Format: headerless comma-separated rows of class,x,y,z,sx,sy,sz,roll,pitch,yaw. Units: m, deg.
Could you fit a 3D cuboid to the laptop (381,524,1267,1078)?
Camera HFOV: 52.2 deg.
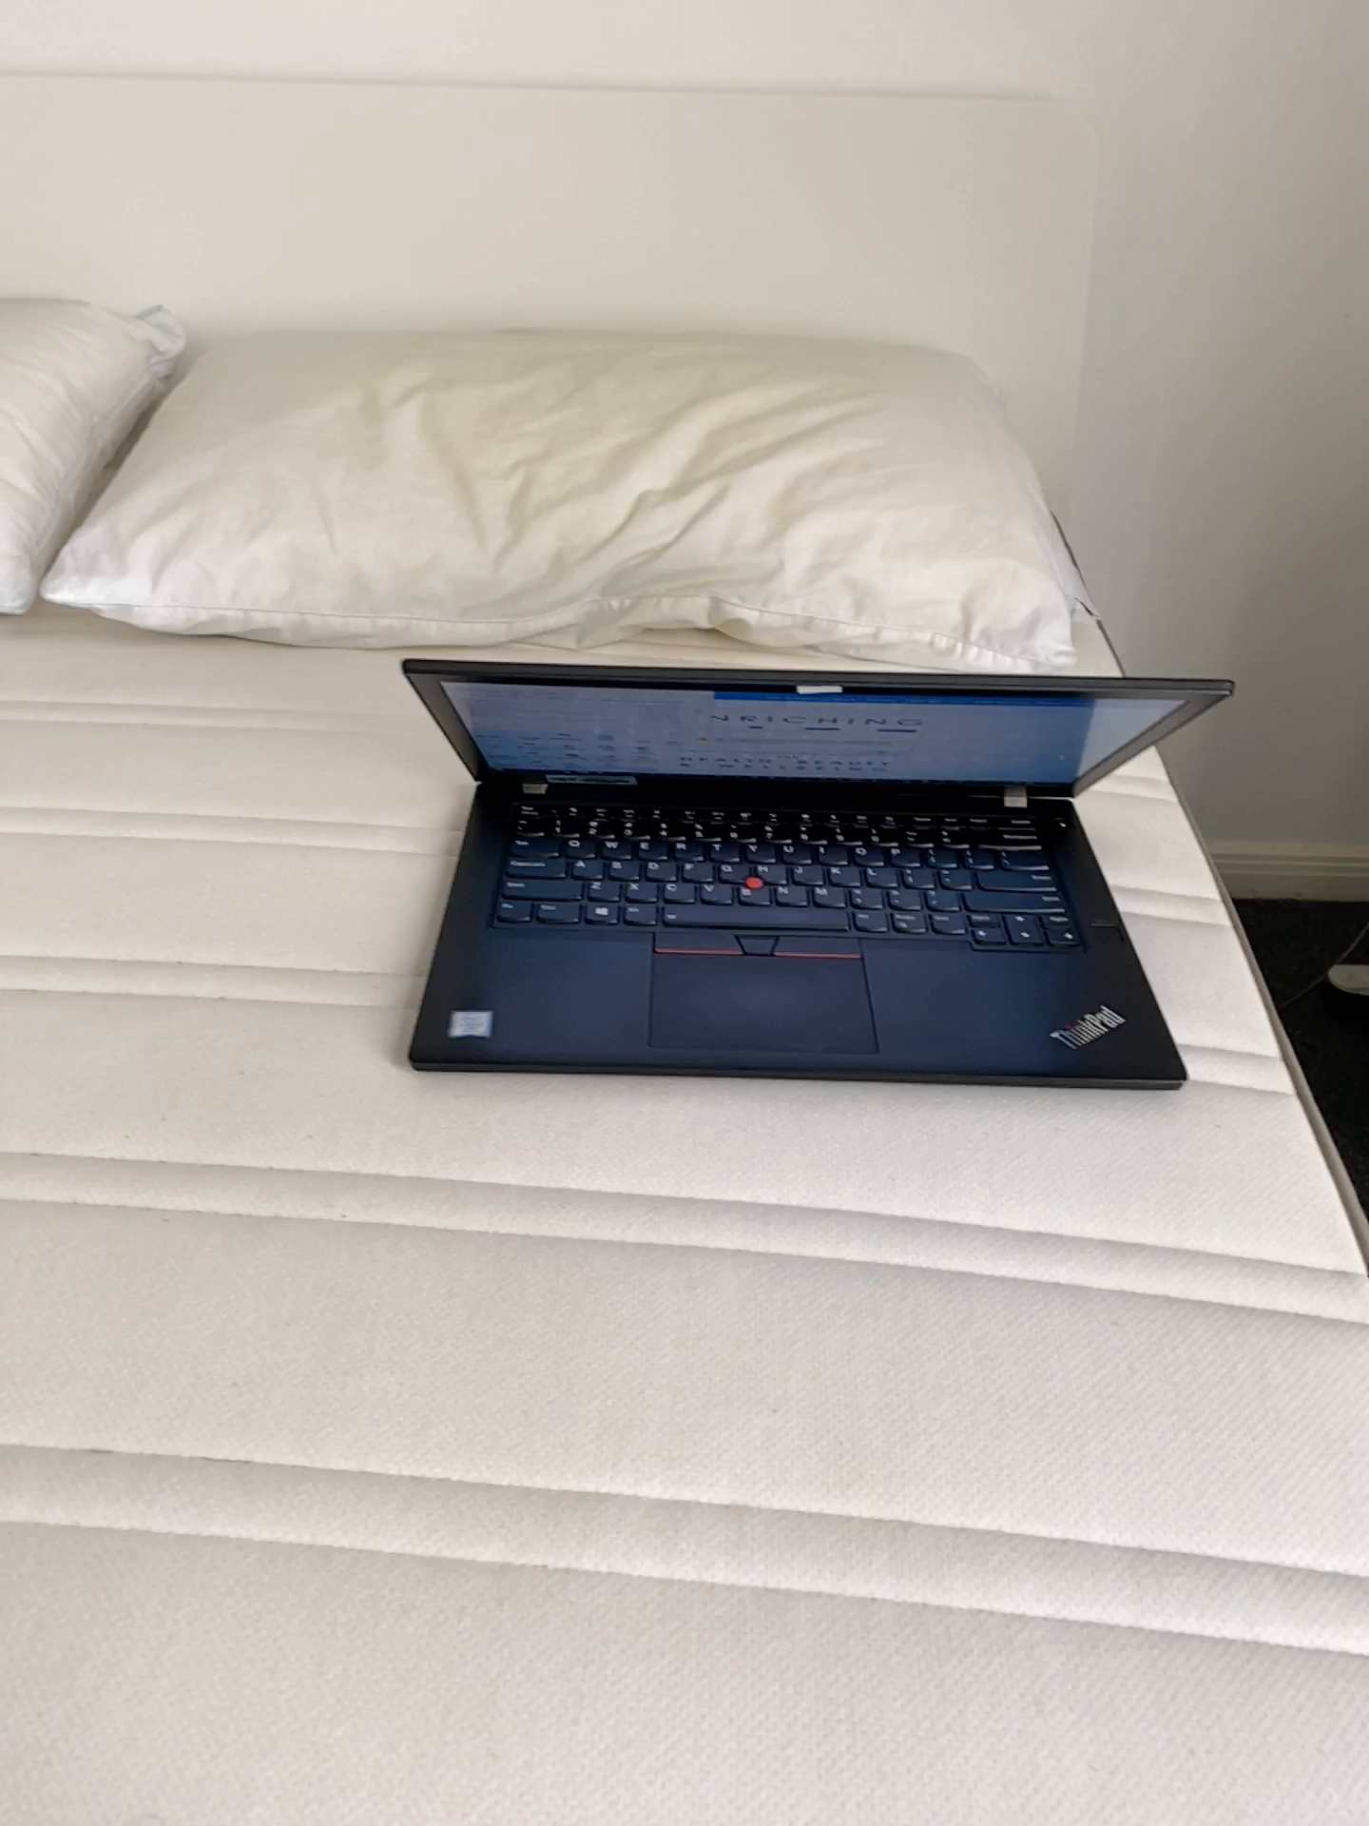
laptop,0.052,-0.060,0.641,0.324,0.150,0.221,1,36,-1
